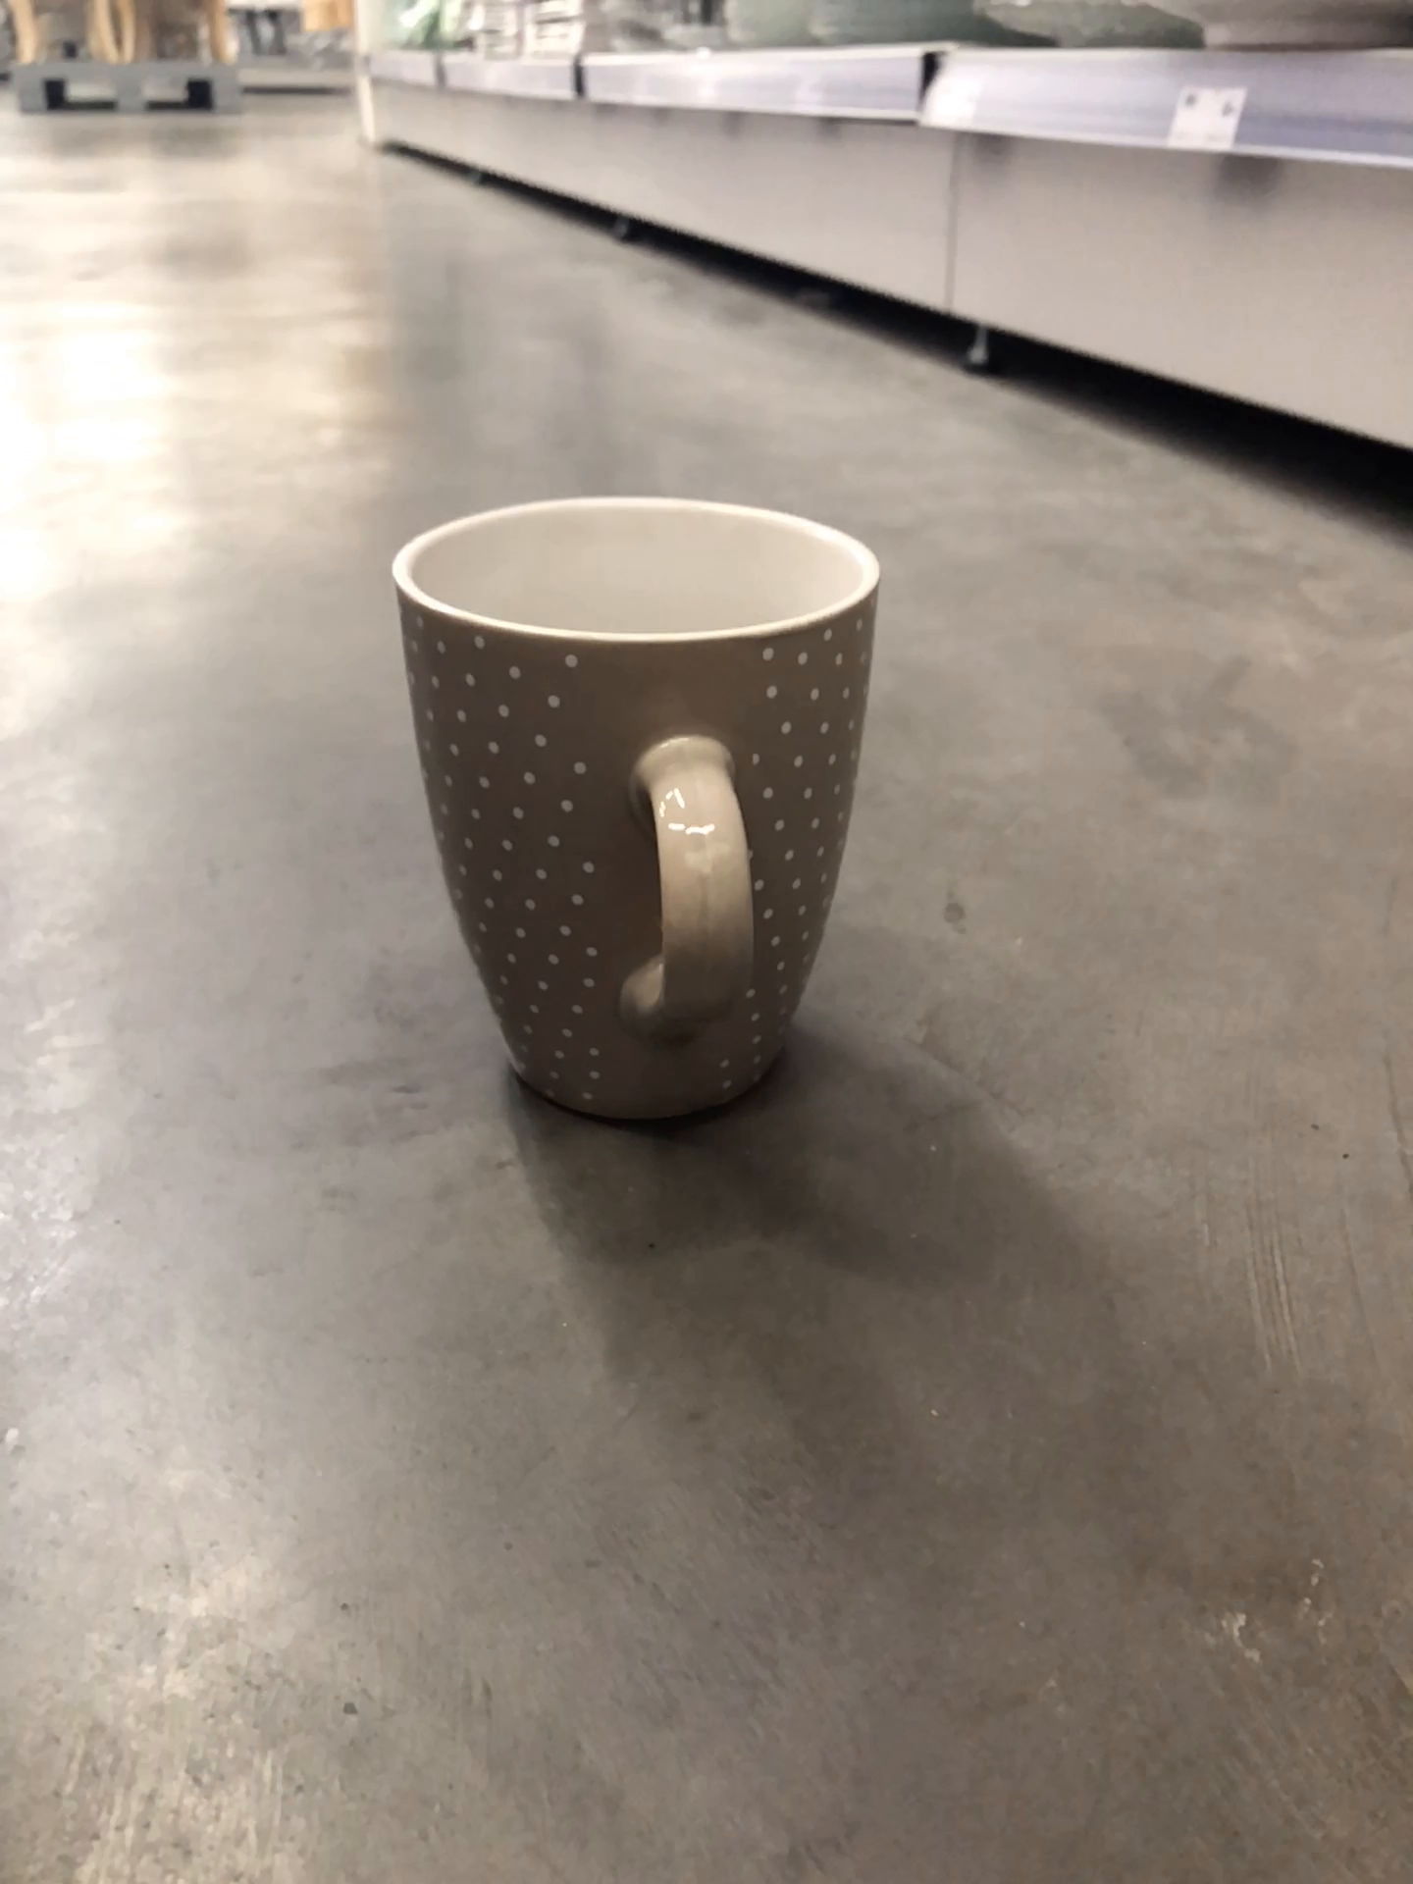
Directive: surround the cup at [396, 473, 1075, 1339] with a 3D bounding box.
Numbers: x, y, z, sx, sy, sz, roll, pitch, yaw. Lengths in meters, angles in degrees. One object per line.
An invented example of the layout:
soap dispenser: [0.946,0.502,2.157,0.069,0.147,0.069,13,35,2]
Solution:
cup: [-0.007,-0.019,0.303,0.091,0.107,0.142,-5,29,-11]
